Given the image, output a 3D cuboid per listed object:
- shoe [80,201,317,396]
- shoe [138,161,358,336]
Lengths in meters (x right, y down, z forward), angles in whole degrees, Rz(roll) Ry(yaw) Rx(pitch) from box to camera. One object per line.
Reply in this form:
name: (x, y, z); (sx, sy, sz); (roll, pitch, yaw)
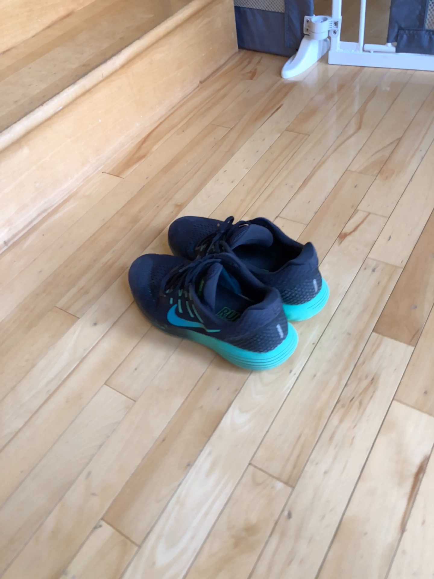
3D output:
shoe: (-0.027, -0.001, 0.629); (0.291, 0.100, 0.120); (27, 58, 30)
shoe: (0.038, -0.071, 0.685); (0.291, 0.100, 0.120); (29, 60, 31)
